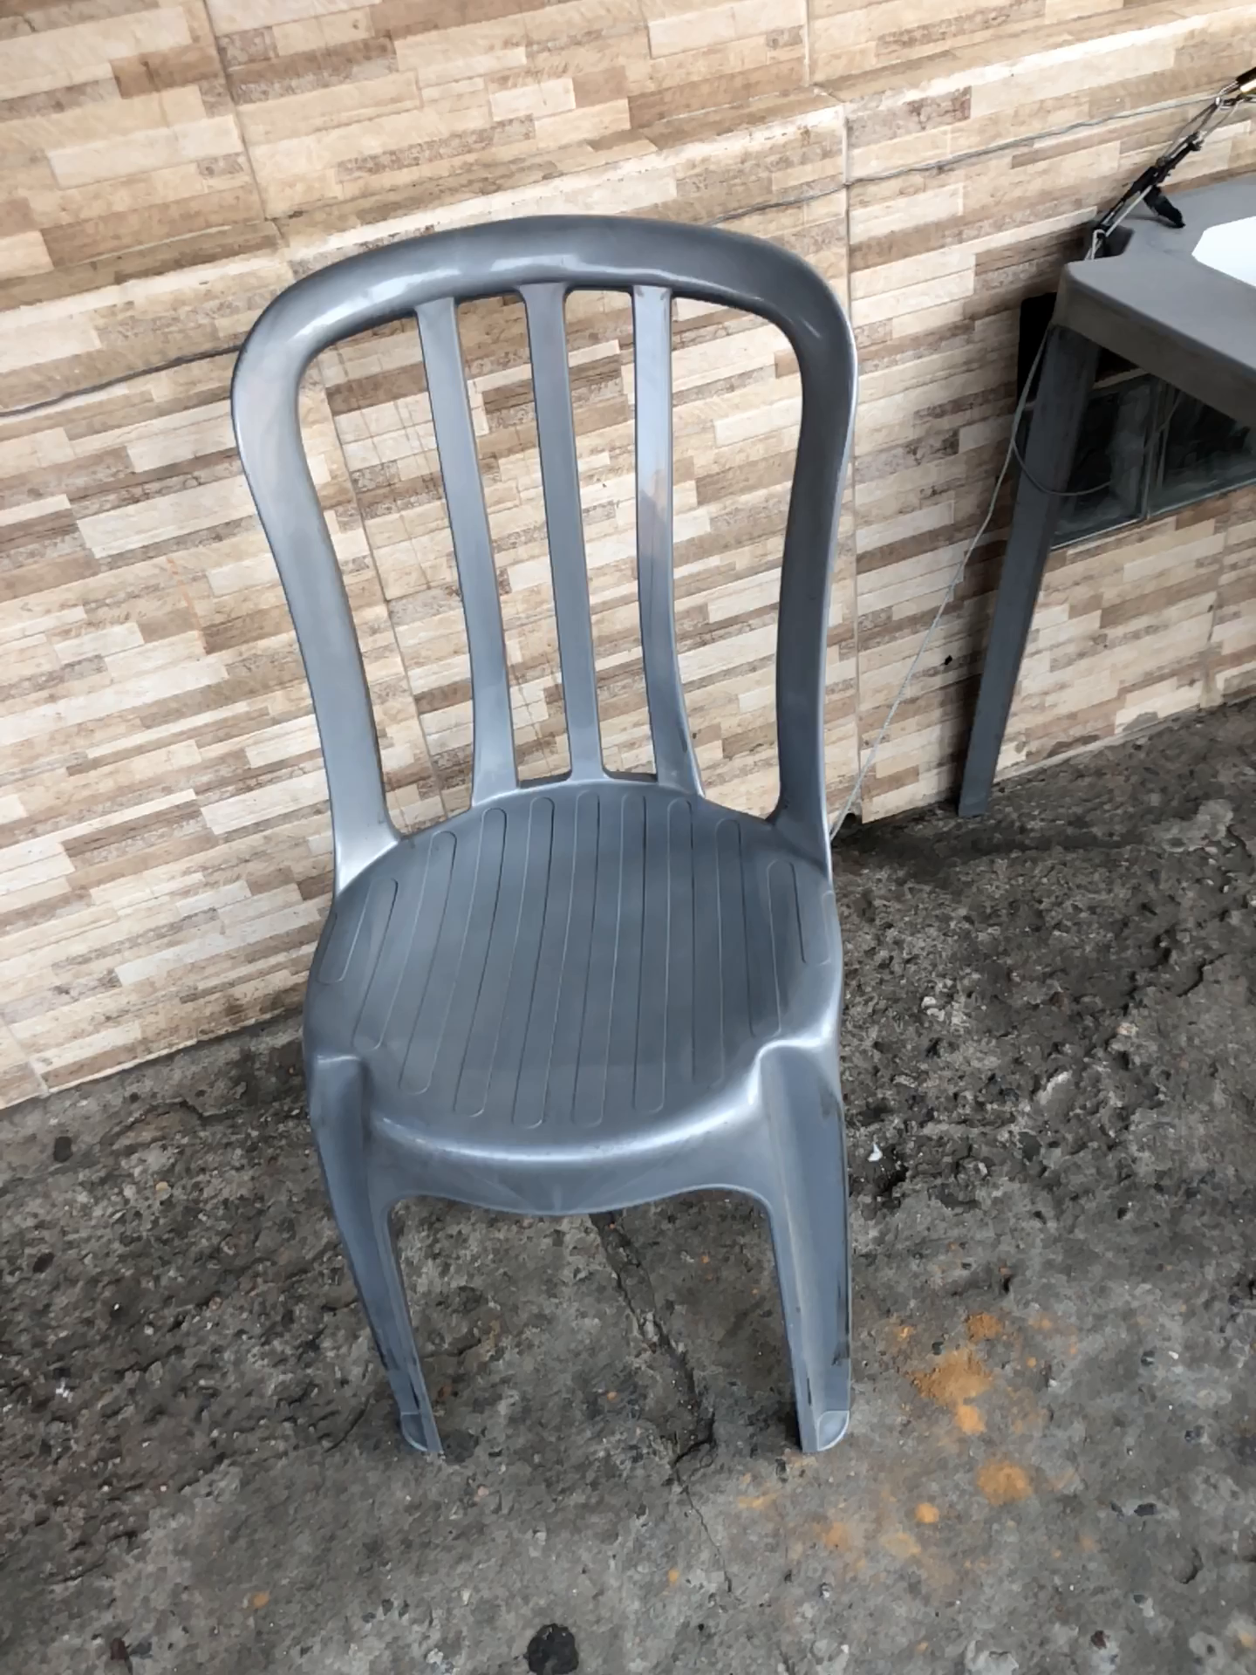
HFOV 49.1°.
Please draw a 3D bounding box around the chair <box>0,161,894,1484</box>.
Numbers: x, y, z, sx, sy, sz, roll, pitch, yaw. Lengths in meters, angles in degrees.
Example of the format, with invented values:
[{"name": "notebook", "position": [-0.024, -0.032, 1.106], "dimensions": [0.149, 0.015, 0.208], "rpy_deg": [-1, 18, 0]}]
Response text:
[{"name": "chair", "position": [-0.051, 0.038, 1.030], "dimensions": [0.440, 0.834, 0.504], "rpy_deg": [-4, 40, 7]}]
